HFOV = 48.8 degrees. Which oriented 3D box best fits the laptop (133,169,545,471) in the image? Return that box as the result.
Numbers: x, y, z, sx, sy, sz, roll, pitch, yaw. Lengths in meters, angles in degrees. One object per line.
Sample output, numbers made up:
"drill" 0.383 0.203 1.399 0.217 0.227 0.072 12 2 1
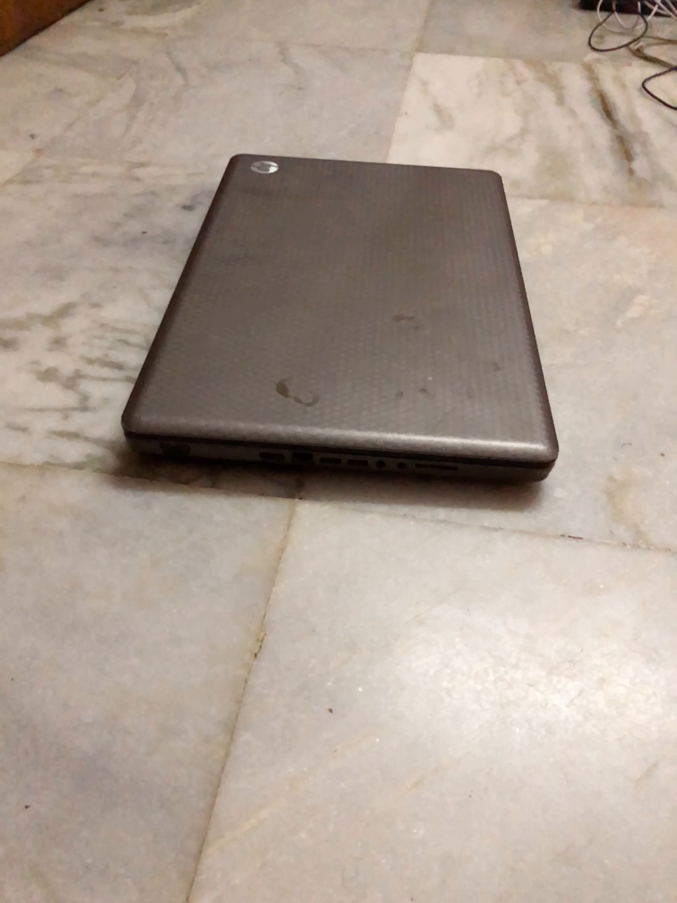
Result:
"laptop" 0.014 -0.131 0.584 0.248 0.002 0.380 4 45 2
